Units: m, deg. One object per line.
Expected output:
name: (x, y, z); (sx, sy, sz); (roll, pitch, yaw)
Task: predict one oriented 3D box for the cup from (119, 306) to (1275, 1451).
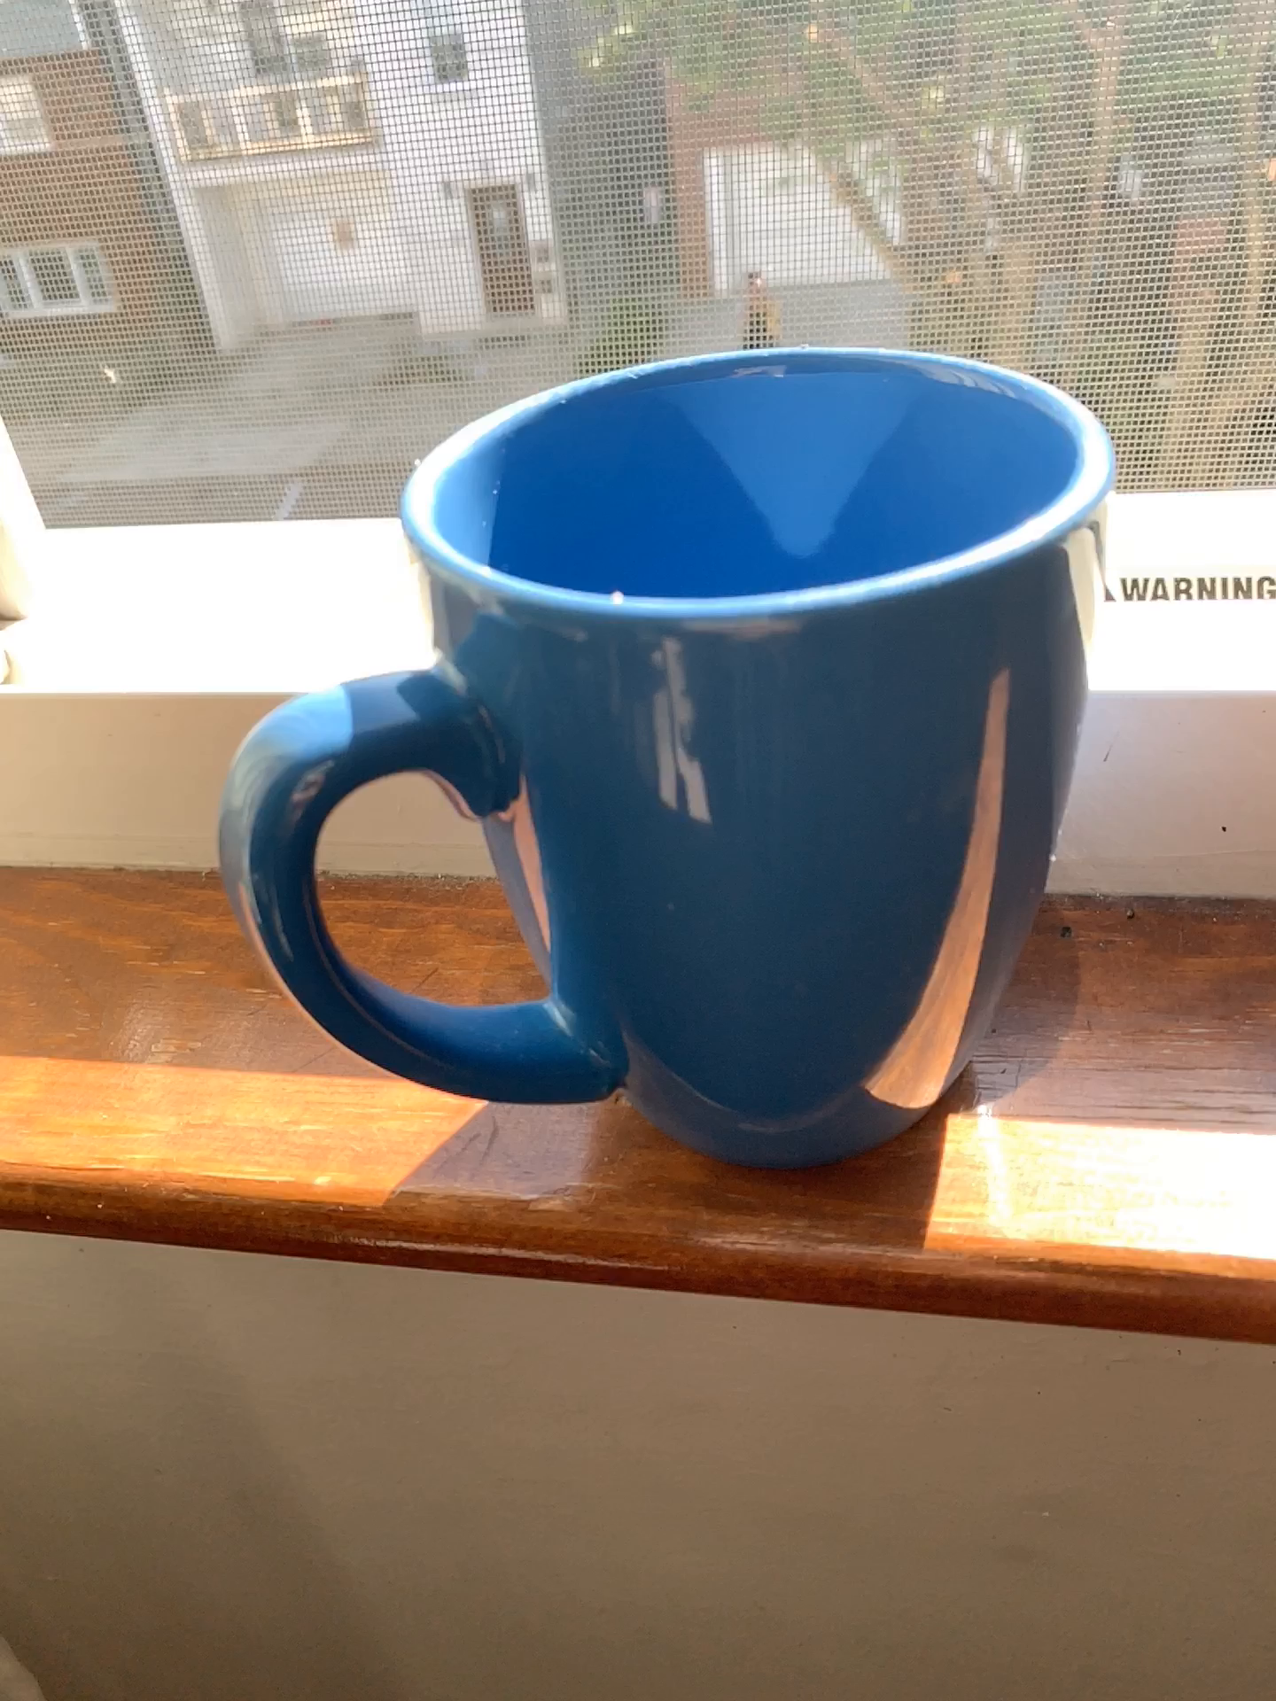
cup: (0.009, -0.005, 0.183); (0.113, 0.095, 0.082); (-23, 40, -20)
